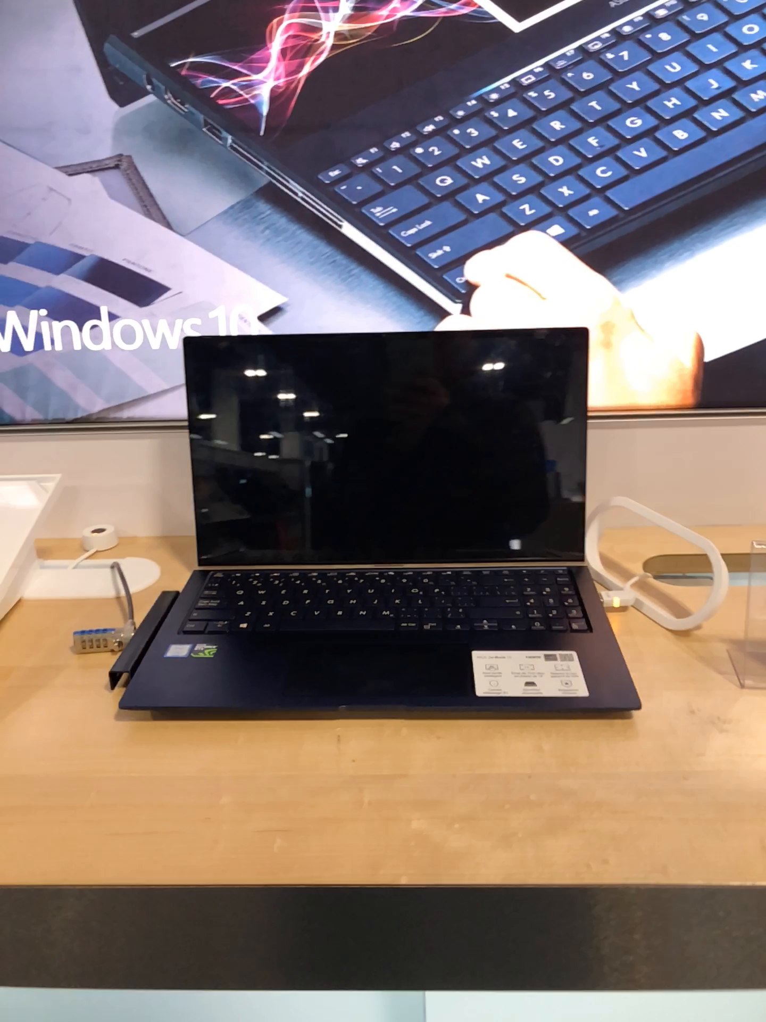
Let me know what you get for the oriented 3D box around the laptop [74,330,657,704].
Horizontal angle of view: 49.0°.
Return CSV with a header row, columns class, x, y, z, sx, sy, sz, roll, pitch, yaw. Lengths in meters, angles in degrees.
class,x,y,z,sx,sy,sz,roll,pitch,yaw
laptop,-0.002,-0.011,0.634,0.336,0.196,0.250,-1,22,4
